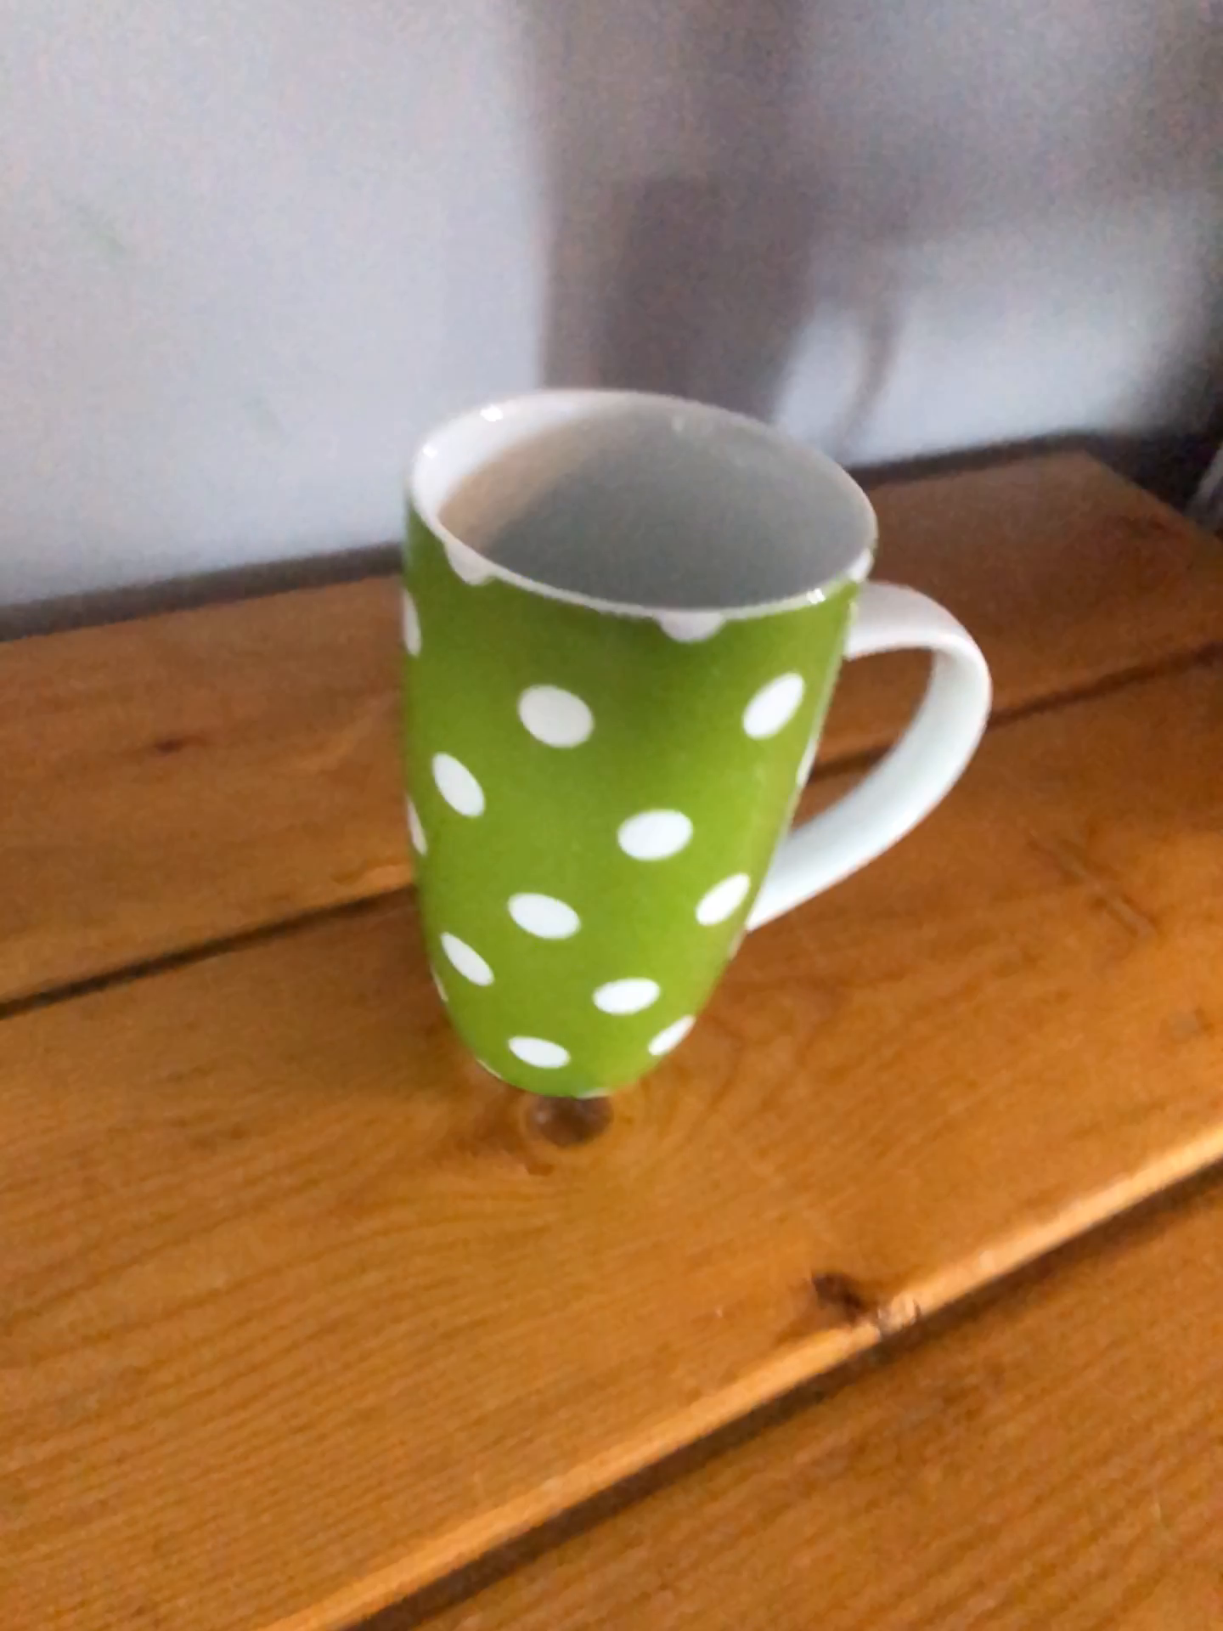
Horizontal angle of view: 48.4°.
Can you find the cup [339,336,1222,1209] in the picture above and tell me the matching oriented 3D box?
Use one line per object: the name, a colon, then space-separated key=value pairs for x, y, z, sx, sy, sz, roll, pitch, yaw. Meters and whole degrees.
cup: x=0.025 y=-0.013 z=0.308 sx=0.150 sy=0.150 sz=0.100 roll=-9 pitch=46 yaw=-21
